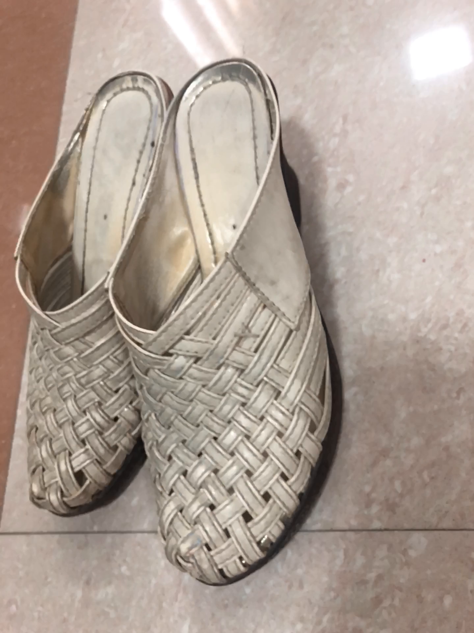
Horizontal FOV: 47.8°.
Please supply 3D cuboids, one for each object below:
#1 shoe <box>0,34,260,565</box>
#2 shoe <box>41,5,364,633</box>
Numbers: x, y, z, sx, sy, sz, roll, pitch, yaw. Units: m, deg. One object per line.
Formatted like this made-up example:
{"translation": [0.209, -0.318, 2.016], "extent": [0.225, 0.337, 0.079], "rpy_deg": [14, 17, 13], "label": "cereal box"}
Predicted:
{"translation": [-0.072, -0.012, 0.287], "extent": [0.090, 0.080, 0.240], "rpy_deg": [7, 78, 33], "label": "shoe"}
{"translation": [-0.005, 0.000, 0.248], "extent": [0.090, 0.080, 0.240], "rpy_deg": [-3, 73, 33], "label": "shoe"}
